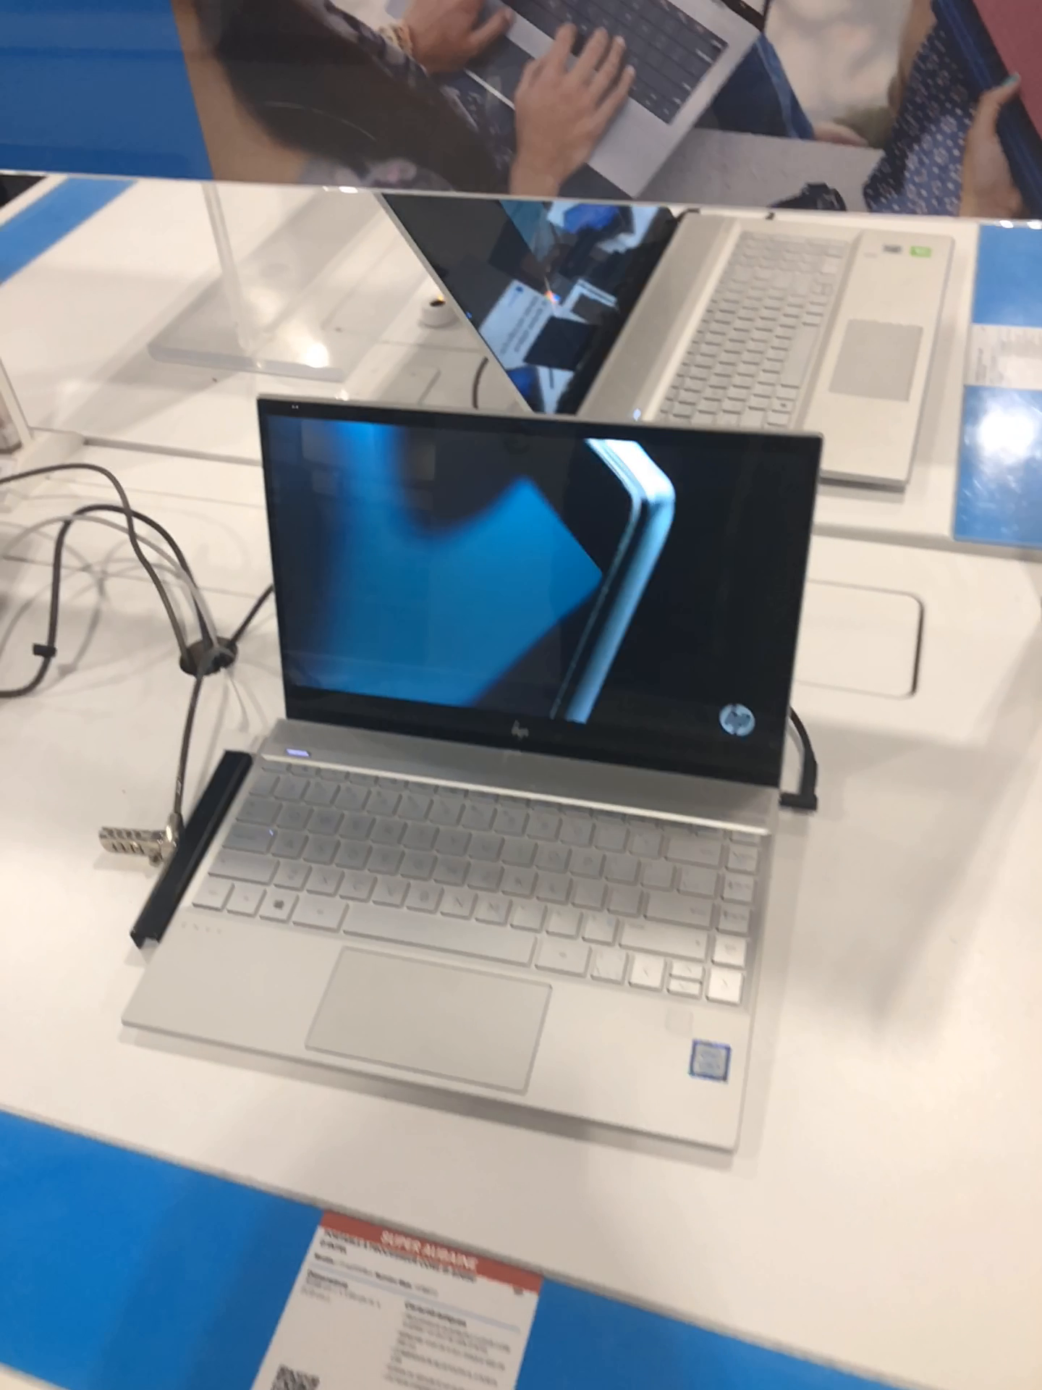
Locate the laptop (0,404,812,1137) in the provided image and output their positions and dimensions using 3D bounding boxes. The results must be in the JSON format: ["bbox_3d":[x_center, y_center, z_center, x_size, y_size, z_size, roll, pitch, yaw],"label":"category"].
[{"bbox_3d":[-0.027,0.018,0.569,0.298,0.182,0.273,7,46,13],"label":"laptop"}]
